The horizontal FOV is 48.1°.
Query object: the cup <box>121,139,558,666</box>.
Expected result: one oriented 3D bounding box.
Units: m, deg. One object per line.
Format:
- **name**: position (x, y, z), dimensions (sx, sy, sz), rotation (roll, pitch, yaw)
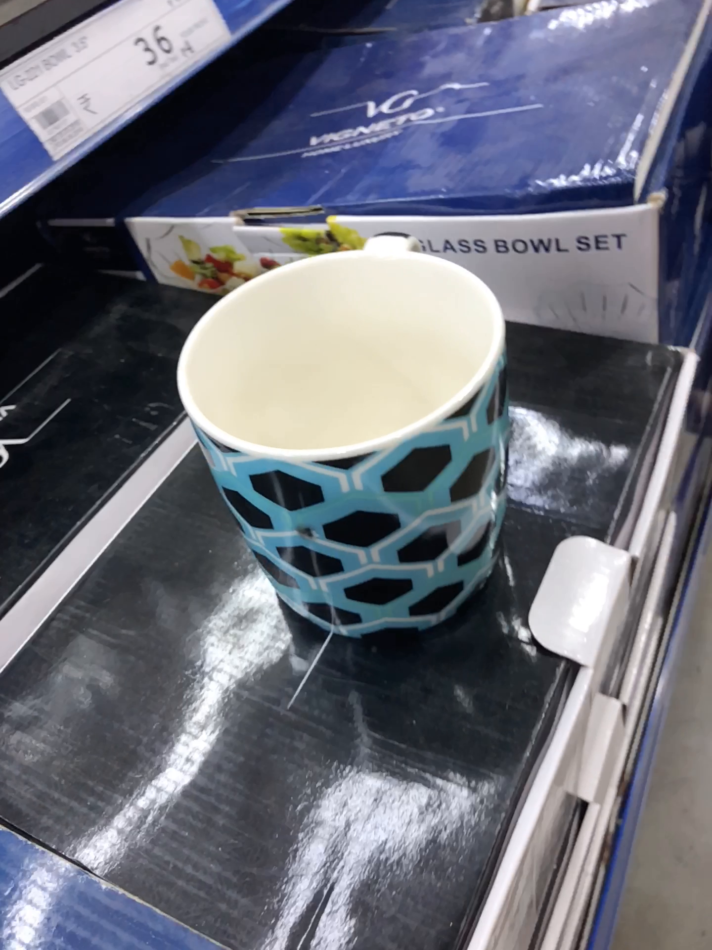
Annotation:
- **cup**: position (0.011, -0.027, 0.247), dimensions (0.090, 0.090, 0.130), rotation (3, 47, 17)
